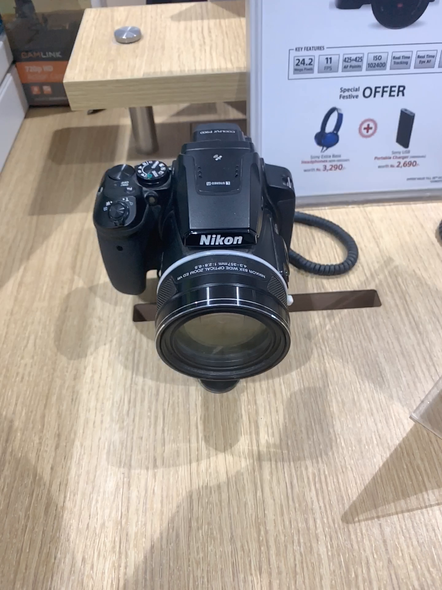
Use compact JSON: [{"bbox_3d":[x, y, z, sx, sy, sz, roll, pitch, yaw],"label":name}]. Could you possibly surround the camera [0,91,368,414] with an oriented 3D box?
[{"bbox_3d":[-0.018,-0.029,0.252,0.140,0.090,0.150,-3,50,-1],"label":"camera"}]
